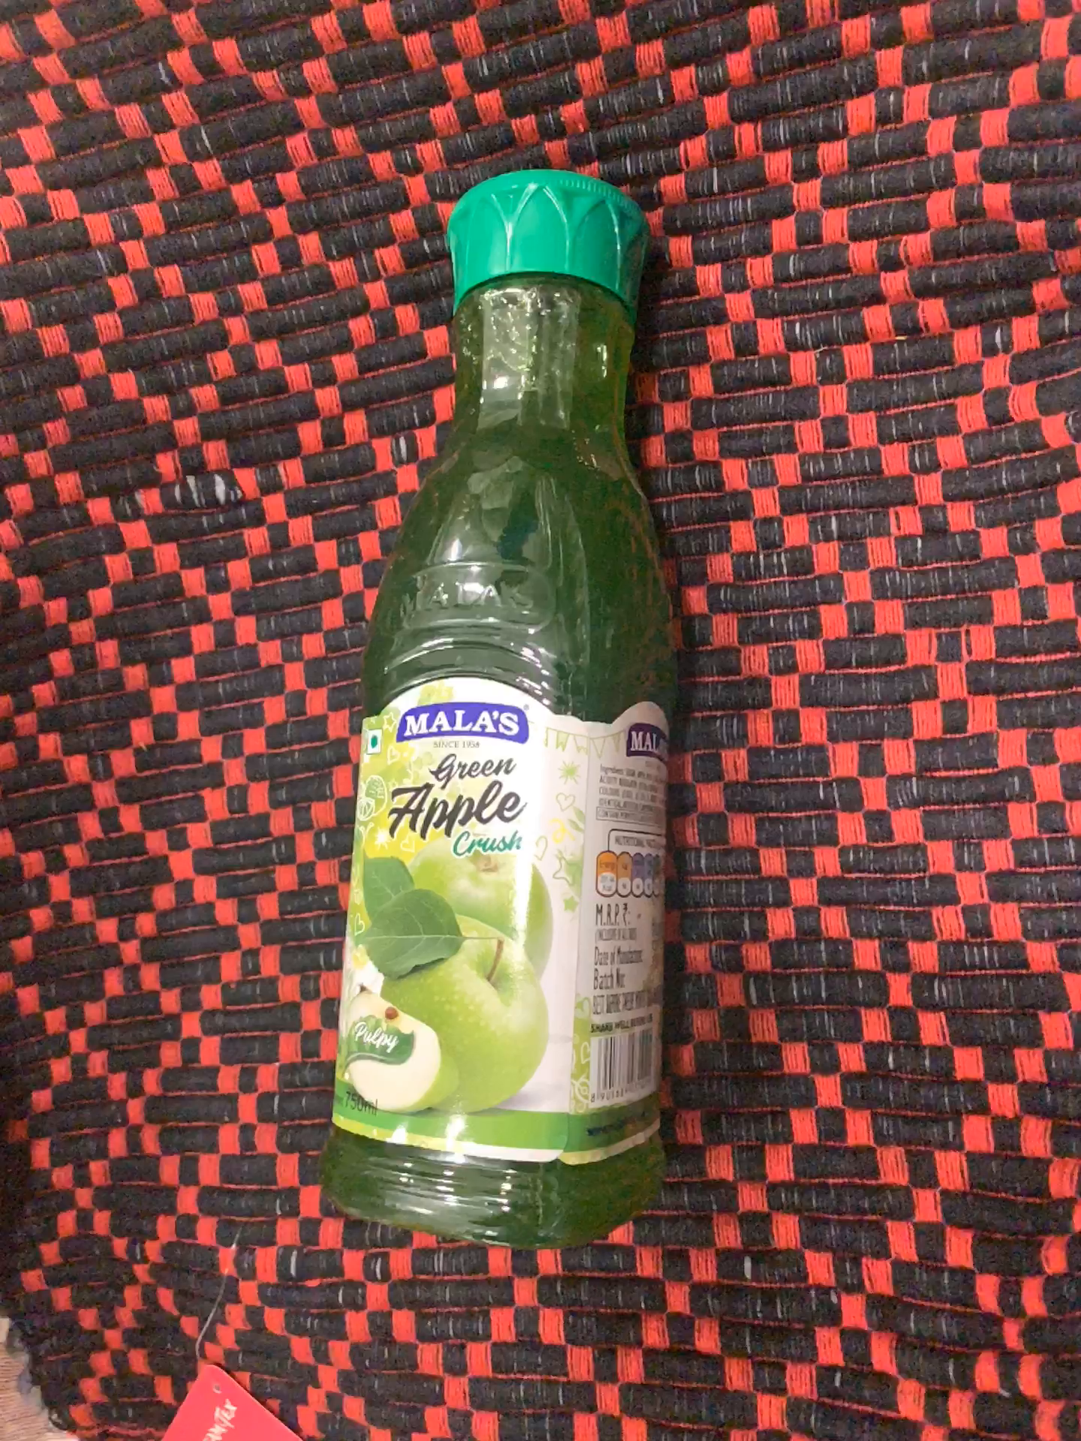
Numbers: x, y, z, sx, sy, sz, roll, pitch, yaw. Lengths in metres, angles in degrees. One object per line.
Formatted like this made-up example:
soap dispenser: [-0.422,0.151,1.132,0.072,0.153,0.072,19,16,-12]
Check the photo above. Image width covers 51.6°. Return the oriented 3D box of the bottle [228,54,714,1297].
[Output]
bottle: [-0.006,-0.016,0.261,0.070,0.070,0.250,0,77,19]
